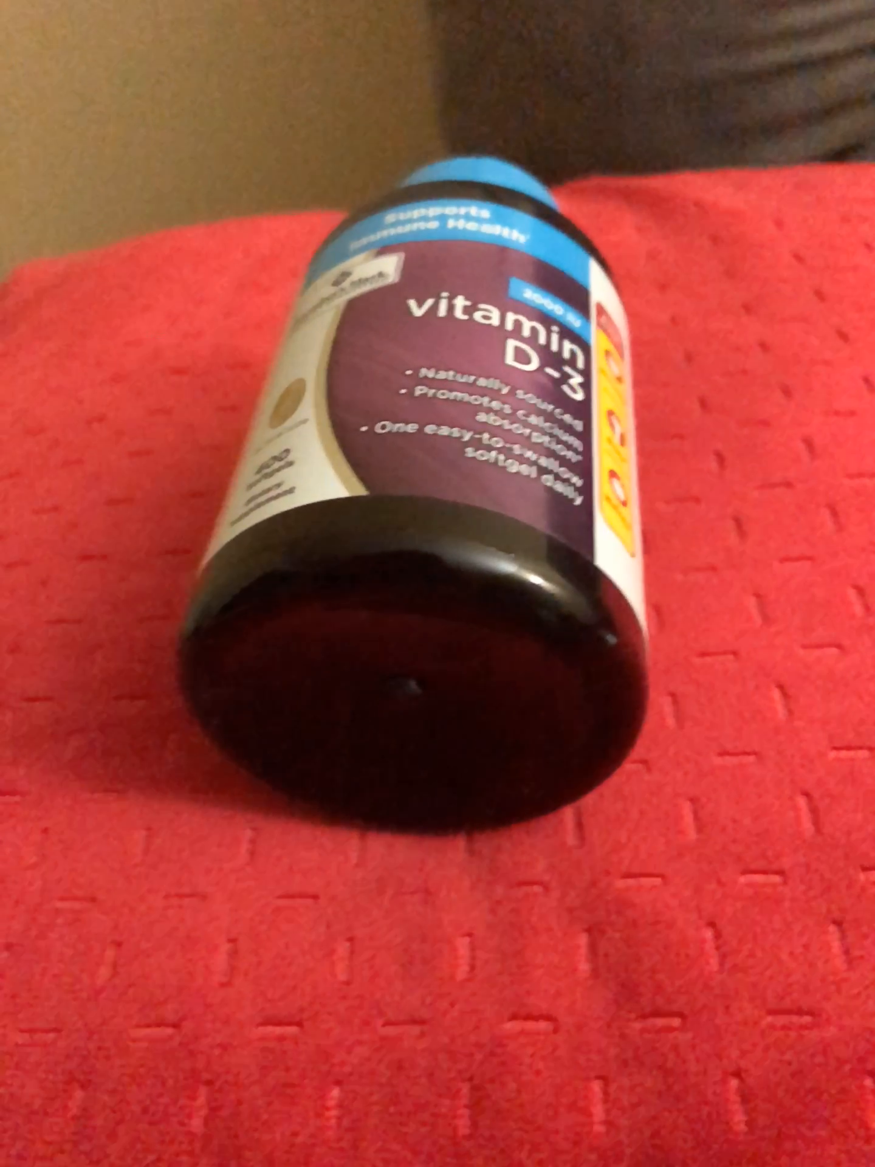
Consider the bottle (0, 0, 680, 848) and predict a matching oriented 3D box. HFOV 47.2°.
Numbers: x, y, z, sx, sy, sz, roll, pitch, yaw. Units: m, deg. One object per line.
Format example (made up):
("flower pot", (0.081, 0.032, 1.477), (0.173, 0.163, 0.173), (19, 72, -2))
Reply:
("bottle", (-0.004, -0.037, 0.161), (0.070, 0.060, 0.140), (-5, 48, 12))
